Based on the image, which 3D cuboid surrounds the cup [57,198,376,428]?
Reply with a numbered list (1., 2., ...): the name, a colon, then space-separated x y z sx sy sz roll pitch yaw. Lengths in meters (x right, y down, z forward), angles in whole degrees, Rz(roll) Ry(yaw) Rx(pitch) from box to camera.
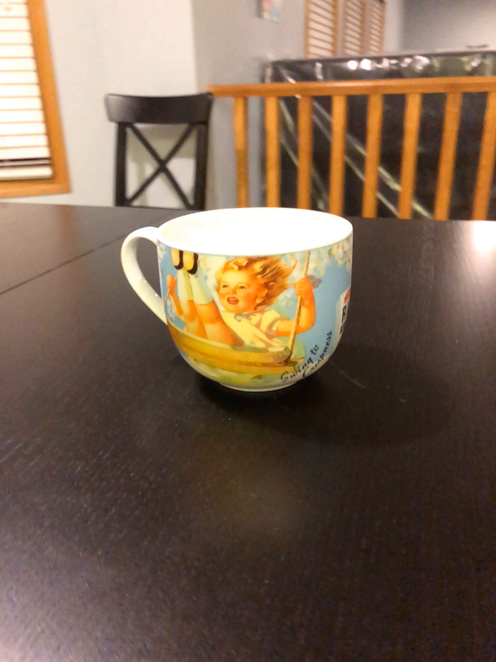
1. cup: -0.009 -0.023 0.337 0.150 0.090 0.120 6 24 17
